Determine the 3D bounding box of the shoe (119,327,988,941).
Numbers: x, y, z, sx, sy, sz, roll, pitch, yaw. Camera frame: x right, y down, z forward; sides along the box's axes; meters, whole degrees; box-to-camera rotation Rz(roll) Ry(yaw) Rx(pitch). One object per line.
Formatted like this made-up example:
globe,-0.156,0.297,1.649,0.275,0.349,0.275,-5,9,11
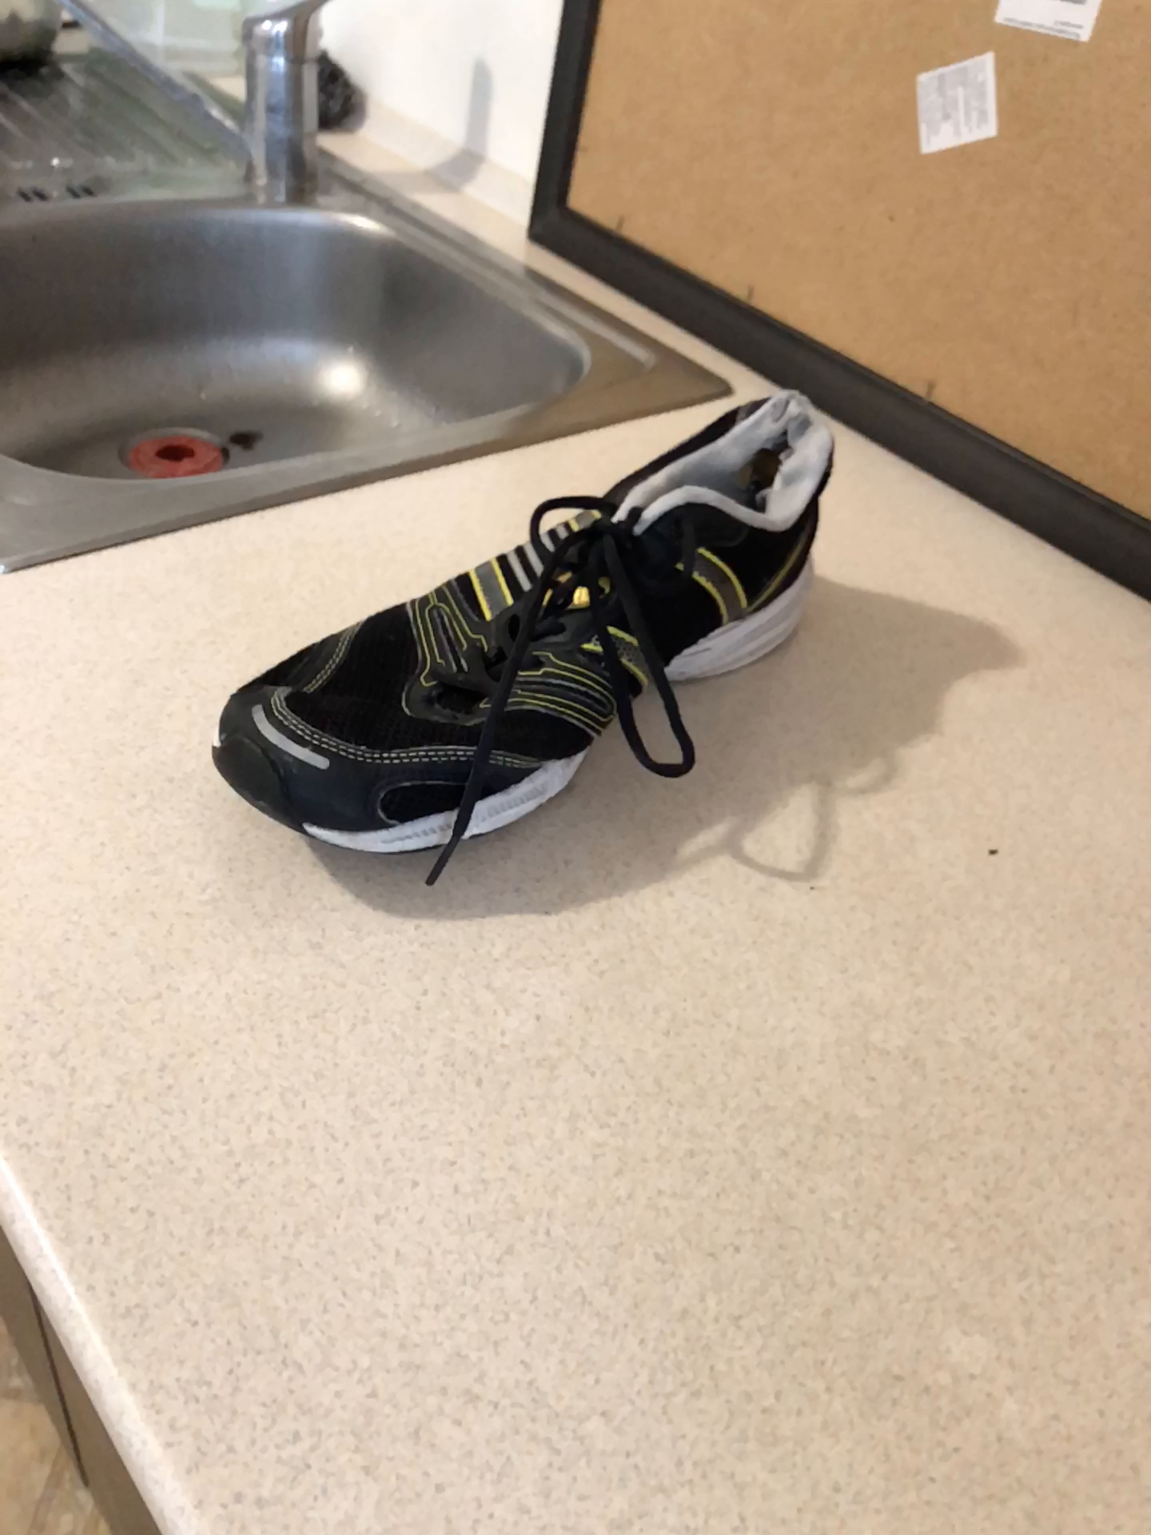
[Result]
shoe,0.007,-0.071,0.475,0.311,0.099,0.110,-26,51,-35
